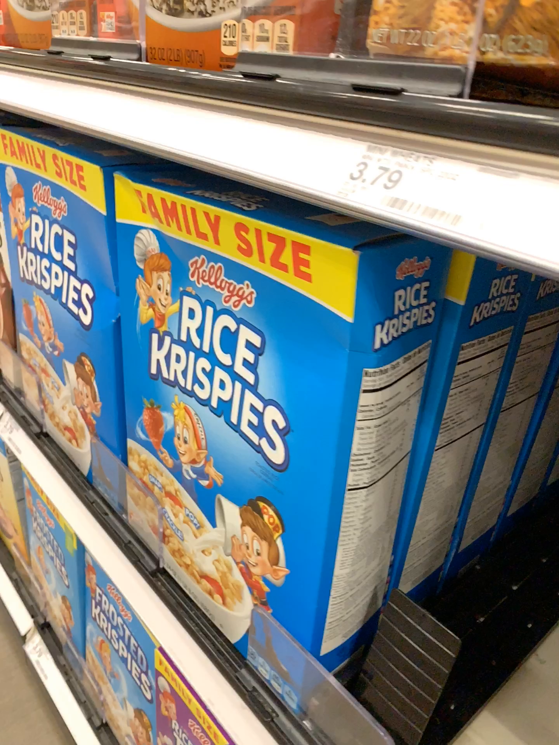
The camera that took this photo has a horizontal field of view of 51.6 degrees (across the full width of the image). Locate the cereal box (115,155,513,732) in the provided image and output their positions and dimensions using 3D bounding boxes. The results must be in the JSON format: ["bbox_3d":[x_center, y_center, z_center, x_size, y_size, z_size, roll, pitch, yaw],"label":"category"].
[{"bbox_3d":[-0.010,0.038,0.441,0.100,0.348,0.251,-19,36,-41],"label":"cereal box"}]
